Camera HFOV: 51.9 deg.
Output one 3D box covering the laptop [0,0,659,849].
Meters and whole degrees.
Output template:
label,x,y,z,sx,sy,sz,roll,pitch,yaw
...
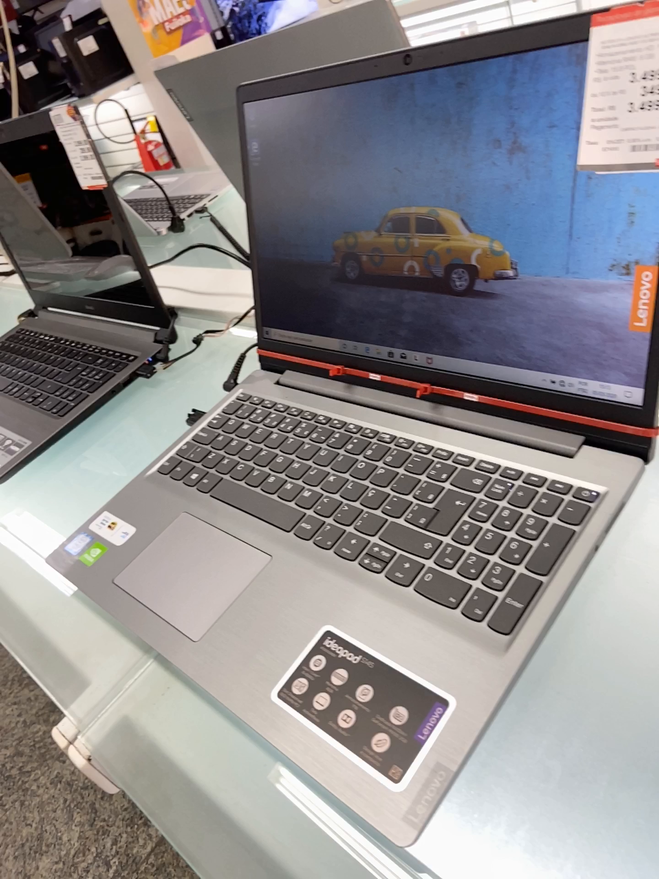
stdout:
label,x,y,z,sx,sy,sz,roll,pitch,yaw
laptop,-0.023,-0.061,0.425,0.365,0.214,0.352,16,52,43
